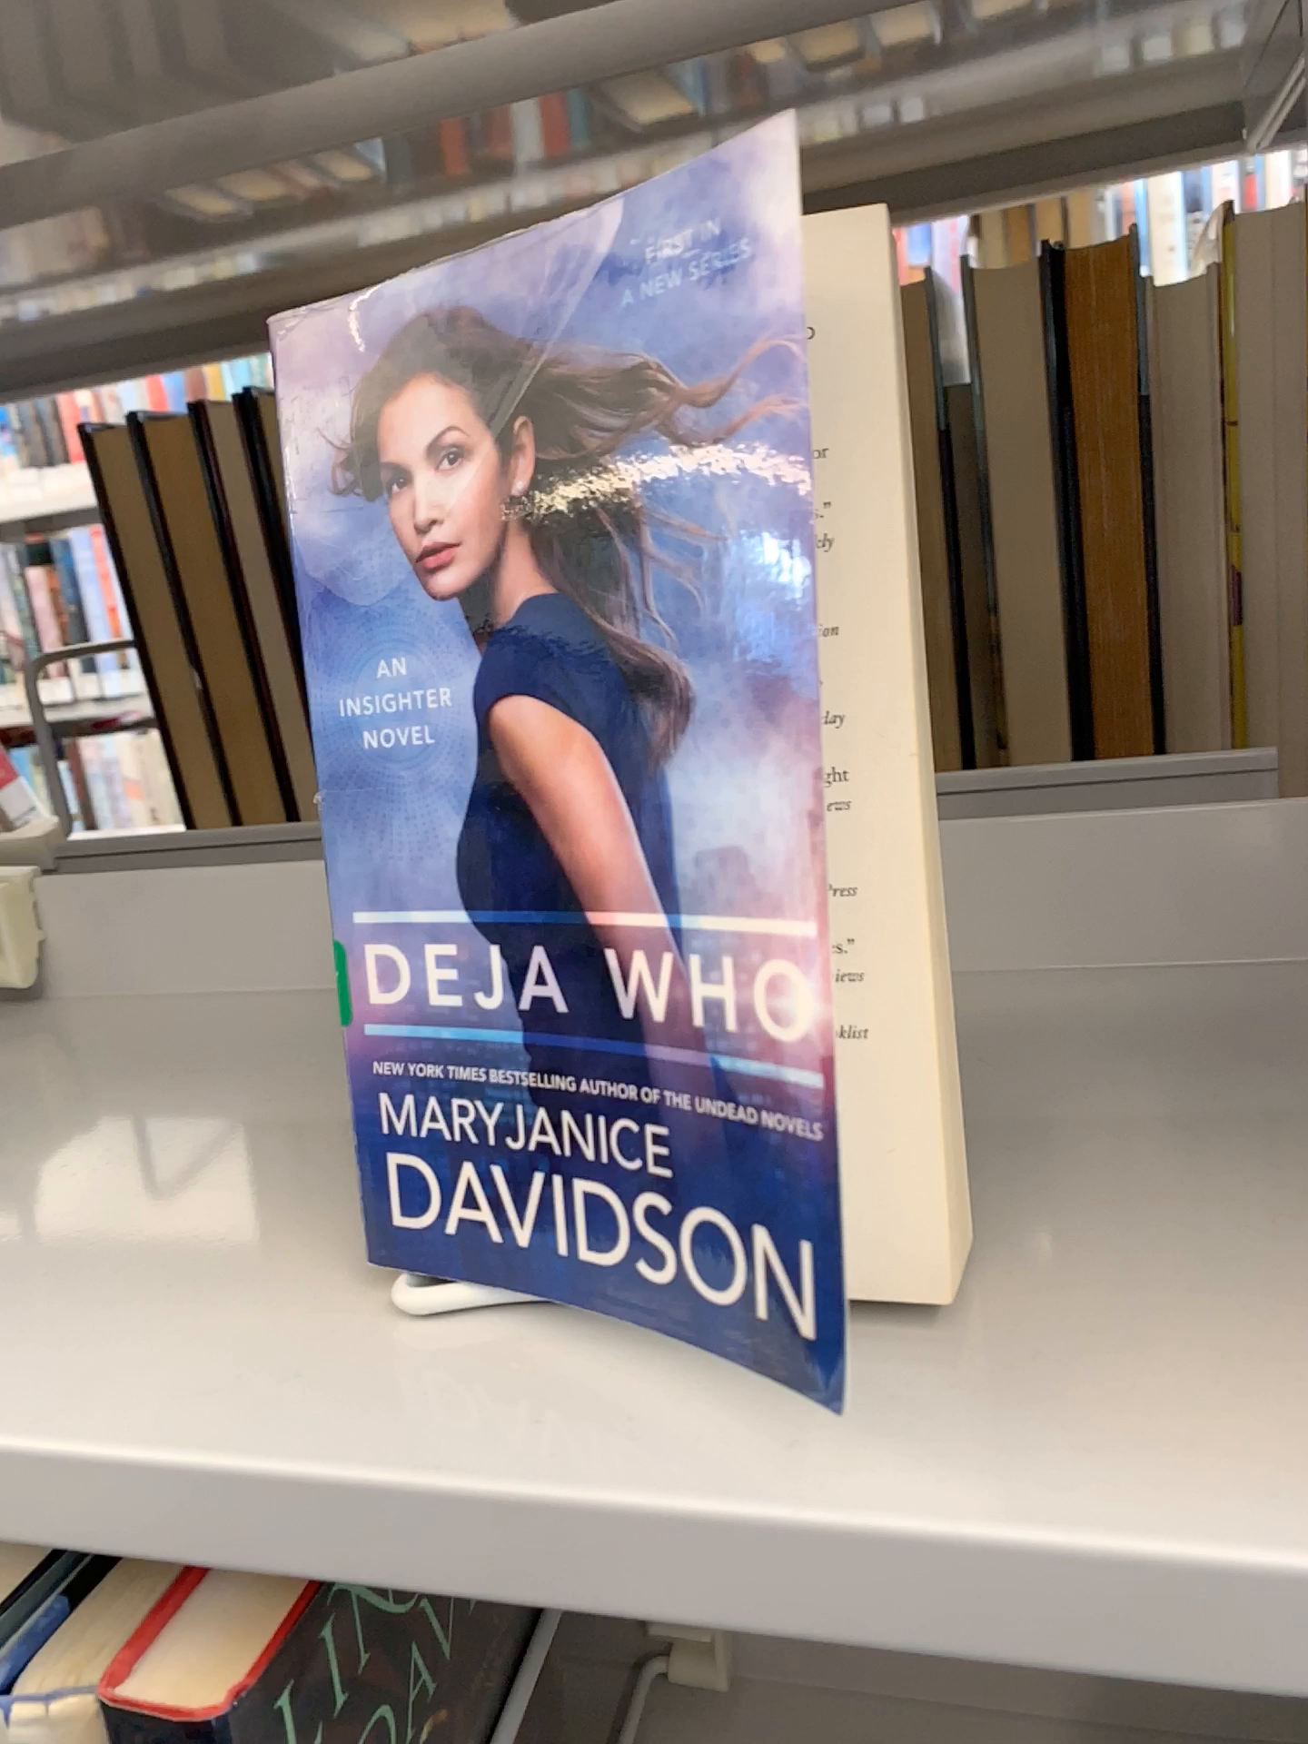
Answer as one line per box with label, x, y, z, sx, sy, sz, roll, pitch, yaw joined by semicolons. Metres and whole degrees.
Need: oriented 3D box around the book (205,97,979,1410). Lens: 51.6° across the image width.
book;-0.016;-0.017;0.253;0.136;0.190;0.047;0;3;34
